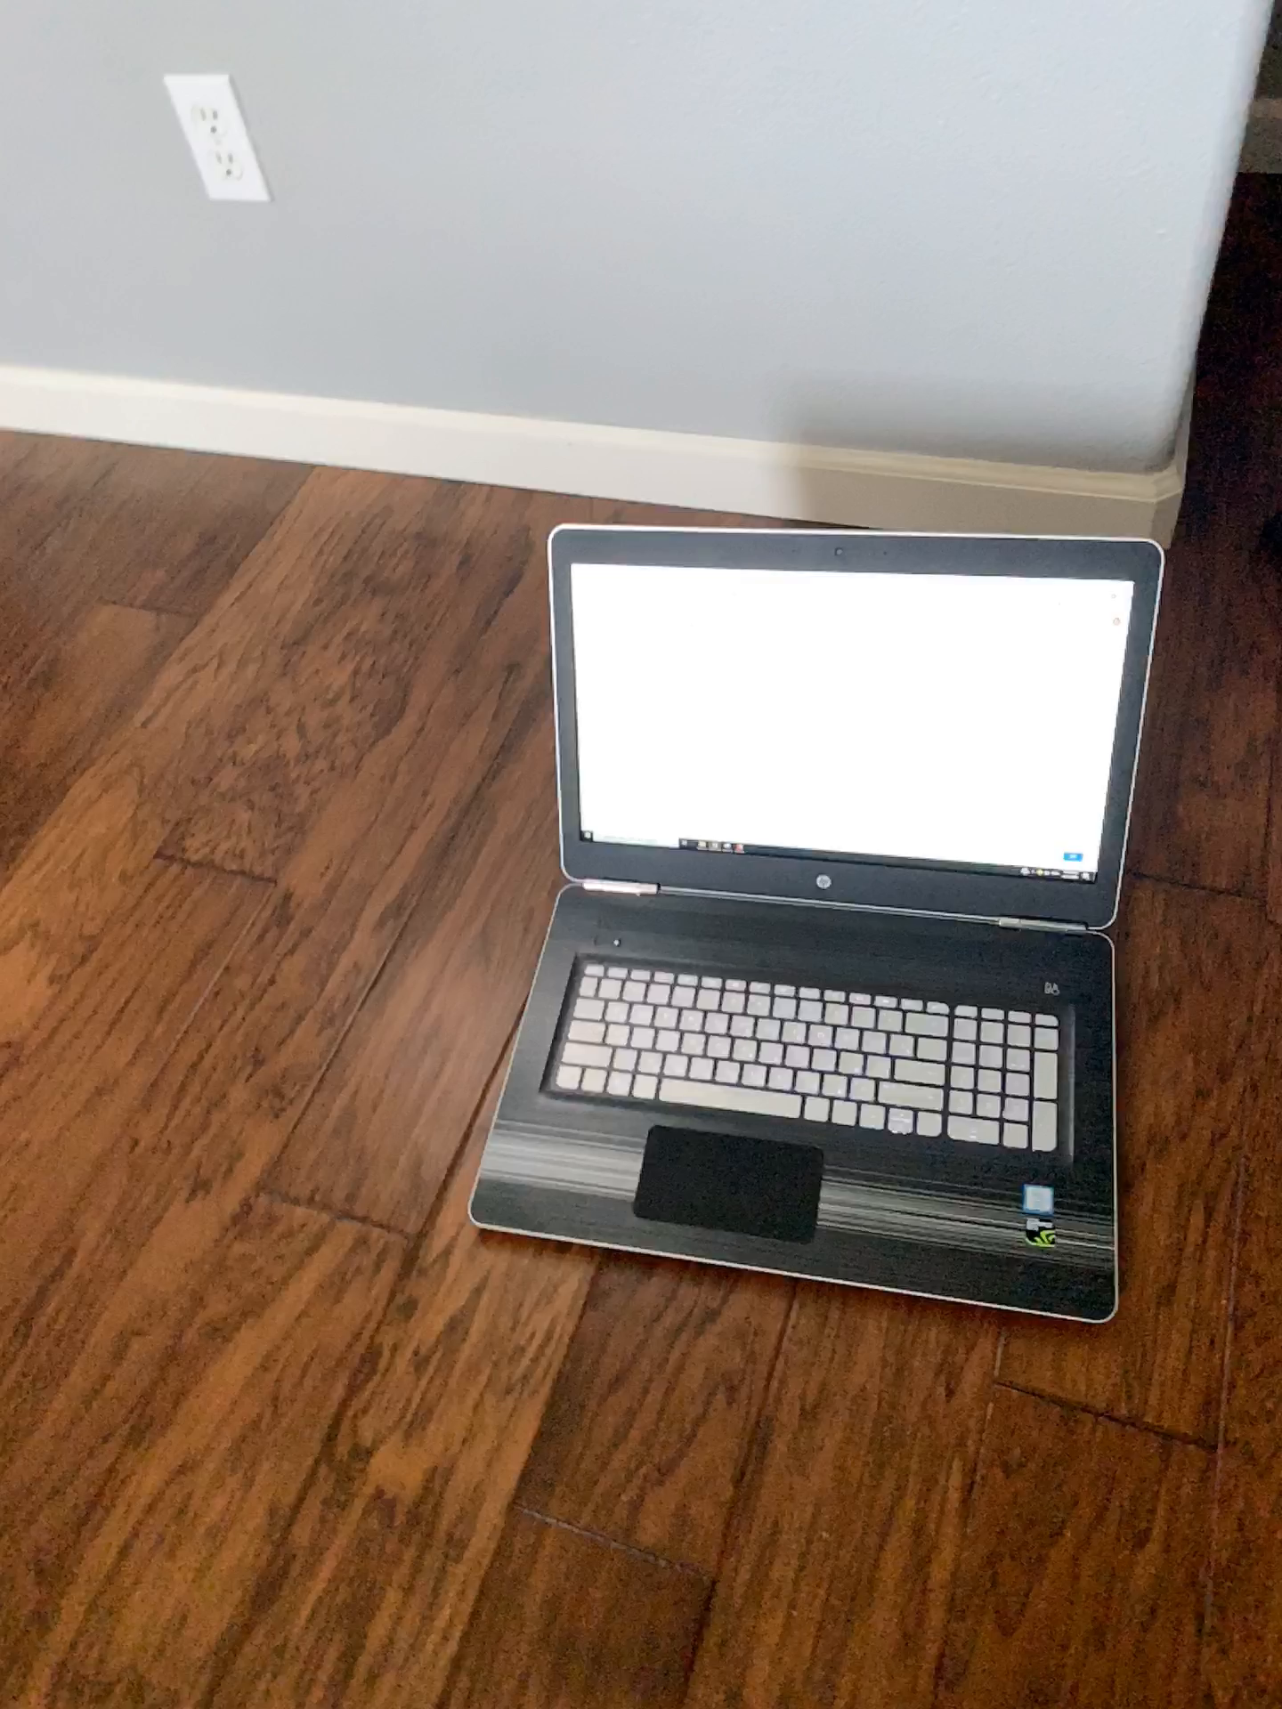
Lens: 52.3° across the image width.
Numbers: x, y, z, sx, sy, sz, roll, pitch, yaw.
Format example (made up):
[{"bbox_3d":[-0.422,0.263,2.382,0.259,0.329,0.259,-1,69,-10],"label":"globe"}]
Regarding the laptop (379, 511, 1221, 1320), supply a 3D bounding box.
[{"bbox_3d":[0.115,0.016,0.847,0.410,0.233,0.424,4,54,12],"label":"laptop"}]
